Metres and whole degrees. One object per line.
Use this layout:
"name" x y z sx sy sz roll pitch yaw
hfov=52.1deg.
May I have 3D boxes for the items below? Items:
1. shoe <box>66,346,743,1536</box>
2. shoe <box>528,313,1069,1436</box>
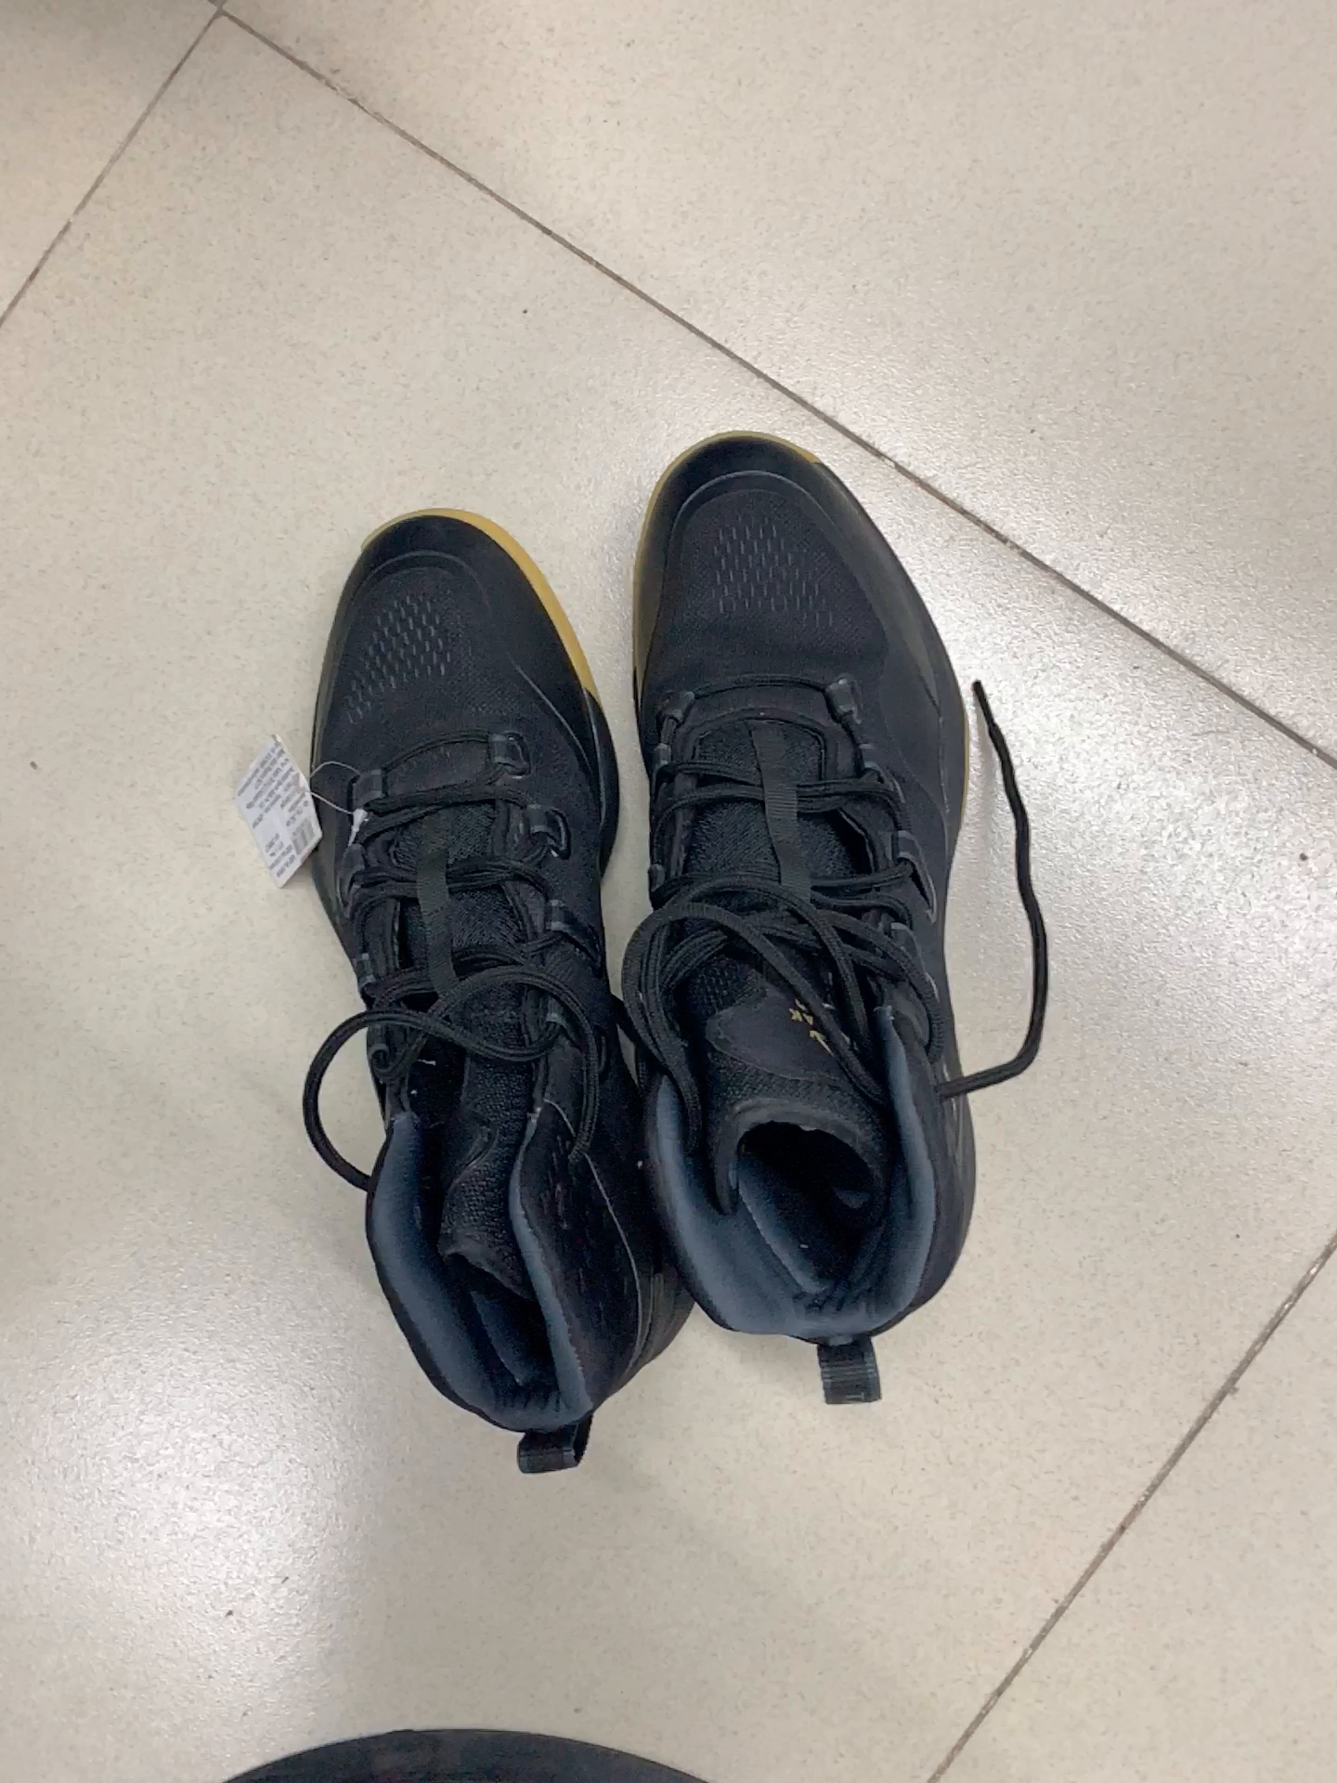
"shoe" -0.068 0.014 0.423 0.110 0.140 0.290 -13 87 6
"shoe" 0.038 -0.003 0.411 0.110 0.090 0.290 -7 87 6
